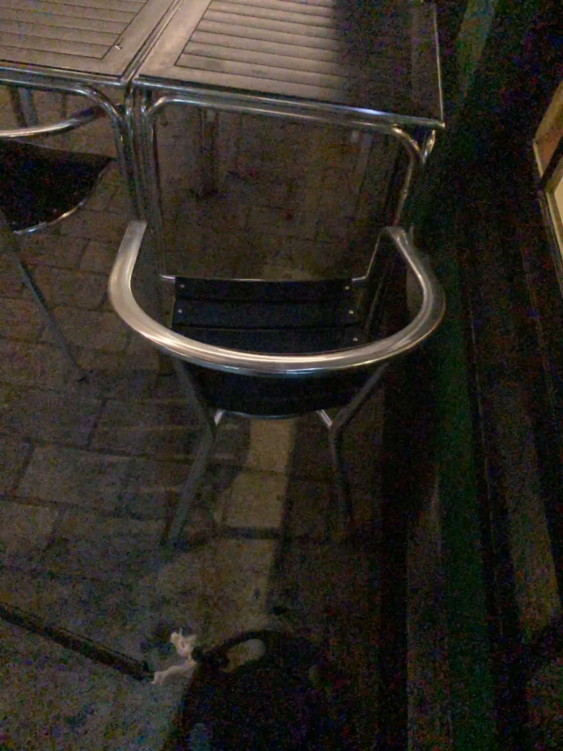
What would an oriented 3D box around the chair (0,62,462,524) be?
[{"bbox_3d":[-0.119,-0.145,1.319,0.660,0.783,0.656,0,52,-6],"label":"chair"}]
